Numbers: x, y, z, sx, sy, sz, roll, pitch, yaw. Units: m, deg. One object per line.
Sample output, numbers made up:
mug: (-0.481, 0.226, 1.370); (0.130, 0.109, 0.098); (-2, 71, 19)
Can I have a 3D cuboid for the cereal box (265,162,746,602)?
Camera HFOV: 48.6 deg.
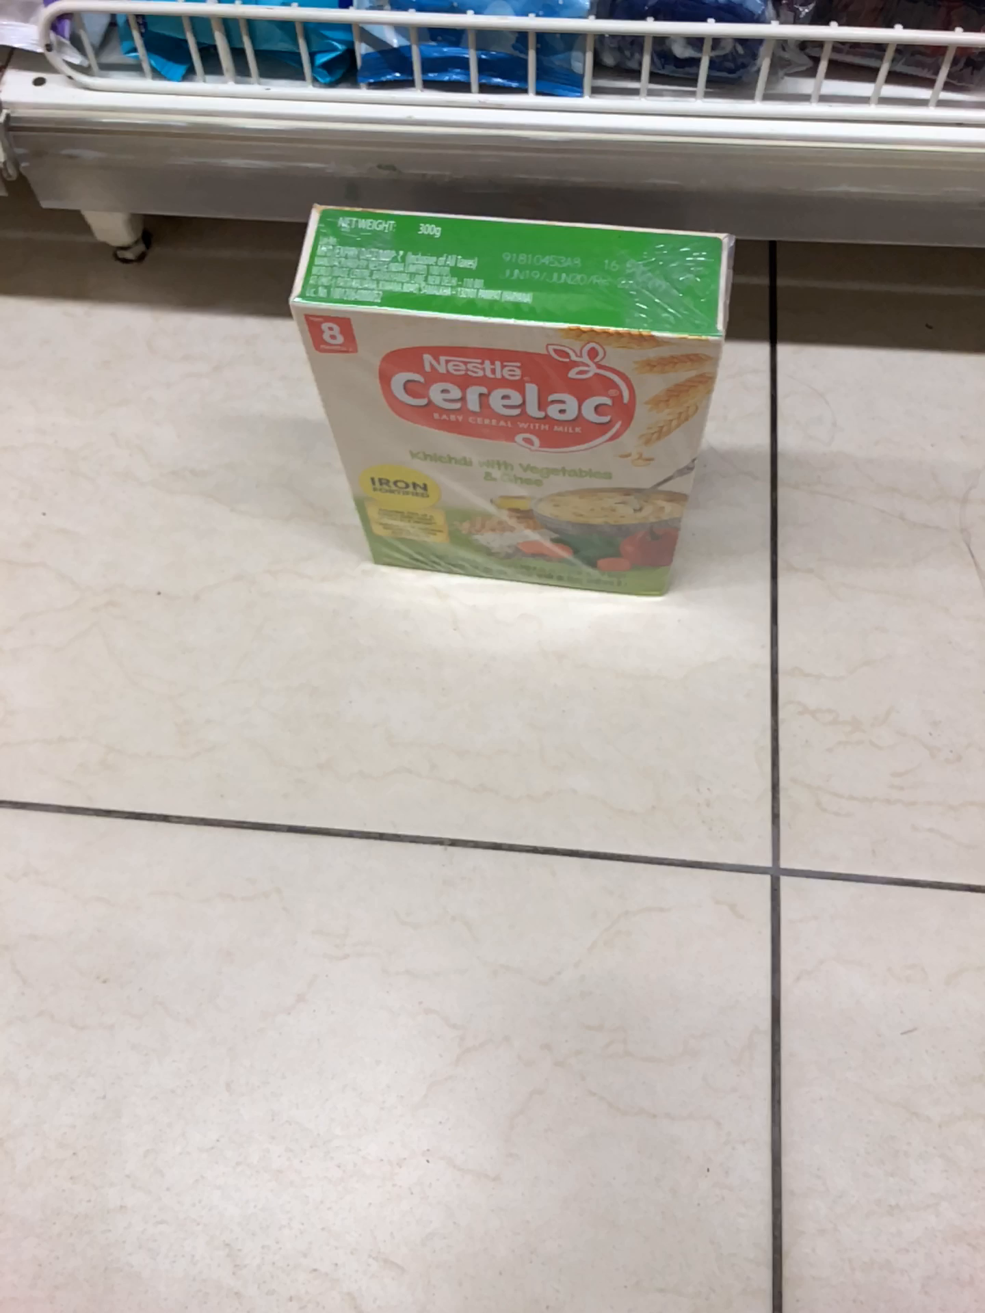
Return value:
cereal box: (0.010, -0.103, 0.469); (0.160, 0.199, 0.060); (6, 67, 5)
